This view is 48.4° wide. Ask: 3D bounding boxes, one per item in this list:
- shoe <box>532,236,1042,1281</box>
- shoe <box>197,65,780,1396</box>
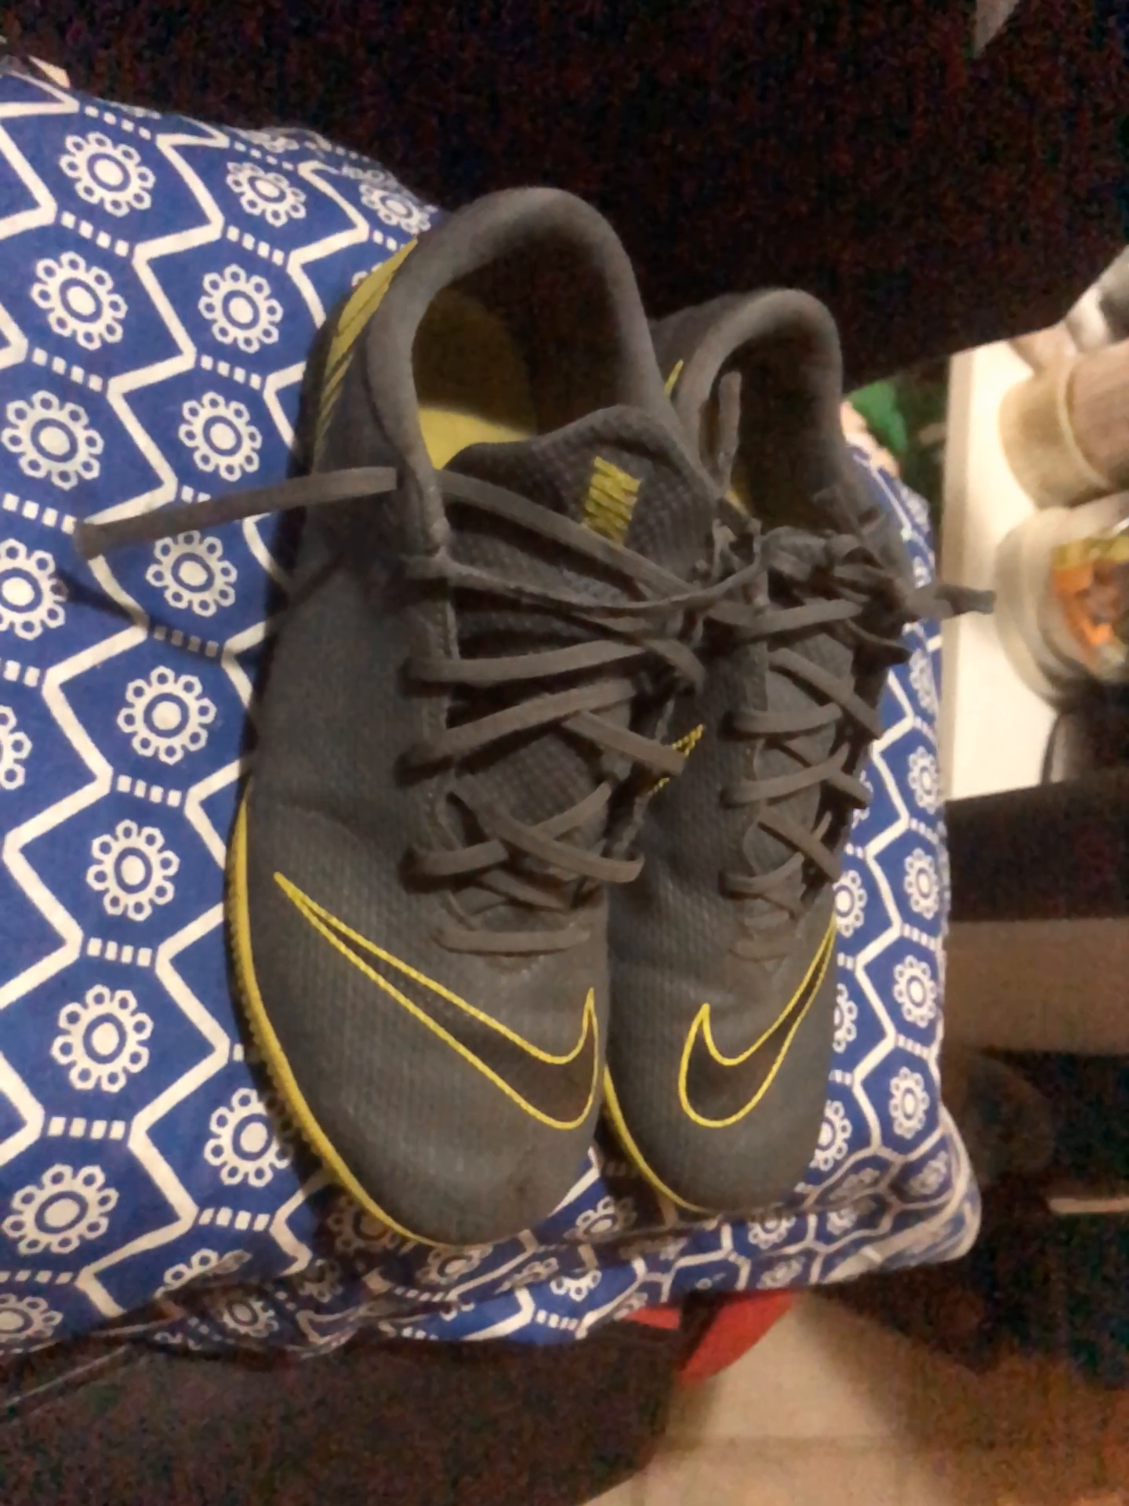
[{"bbox_3d":[0.056,0.003,0.348,0.090,0.089,0.240,5,79,-35],"label":"shoe"},{"bbox_3d":[-0.021,-0.004,0.286,0.090,0.089,0.240,5,79,-35],"label":"shoe"}]
